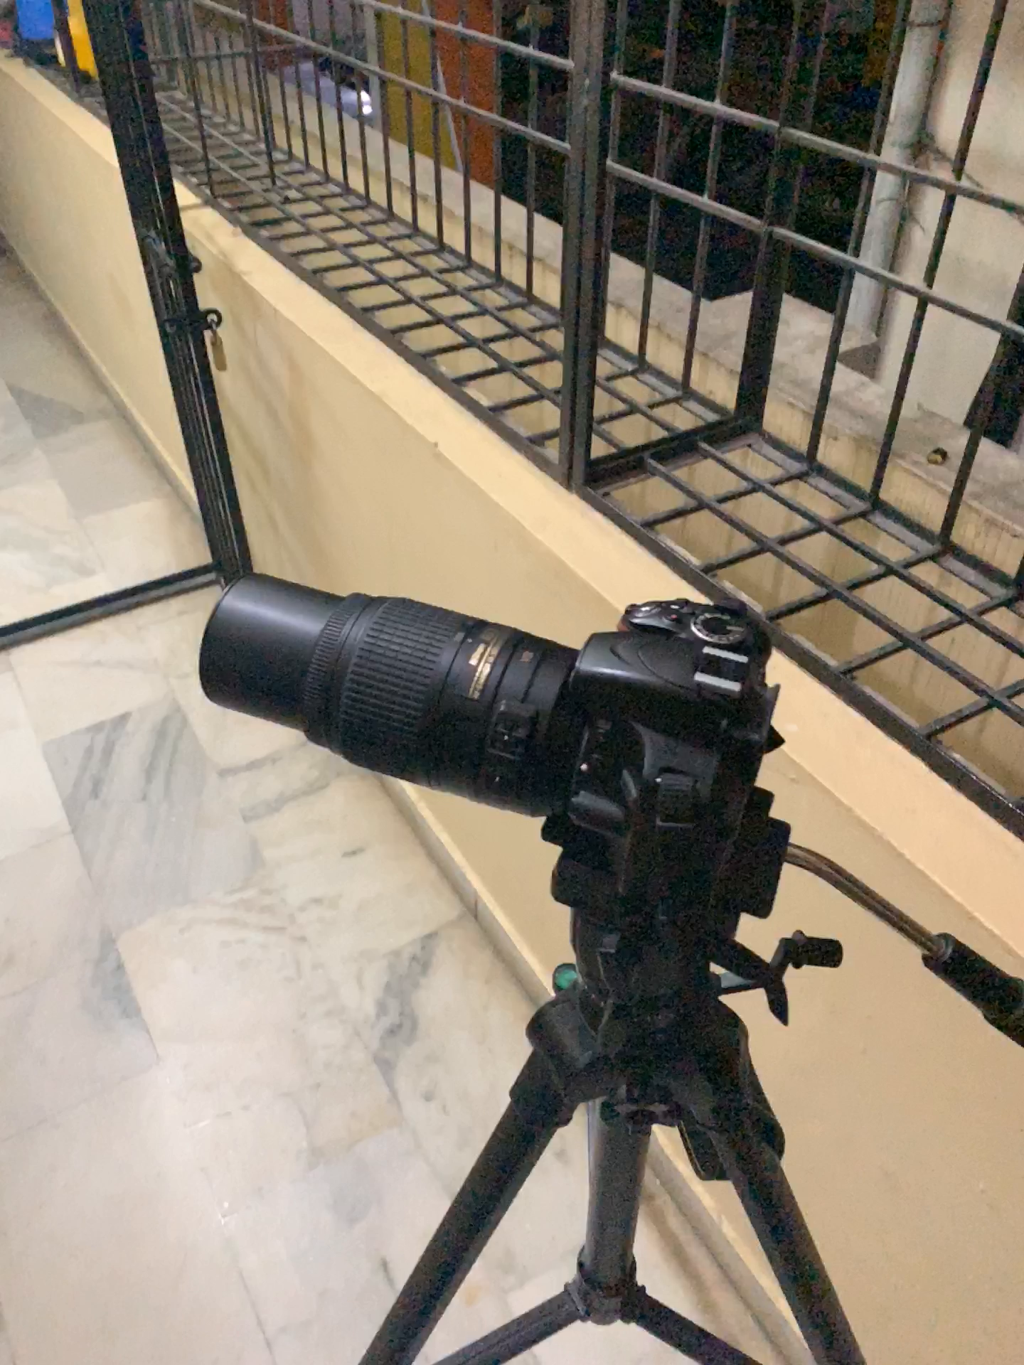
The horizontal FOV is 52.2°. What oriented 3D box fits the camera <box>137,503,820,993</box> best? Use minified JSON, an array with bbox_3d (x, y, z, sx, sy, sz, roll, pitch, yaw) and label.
[{"bbox_3d":[-0.009,0.016,0.424,0.230,0.090,0.120,13,42,15],"label":"camera"}]
